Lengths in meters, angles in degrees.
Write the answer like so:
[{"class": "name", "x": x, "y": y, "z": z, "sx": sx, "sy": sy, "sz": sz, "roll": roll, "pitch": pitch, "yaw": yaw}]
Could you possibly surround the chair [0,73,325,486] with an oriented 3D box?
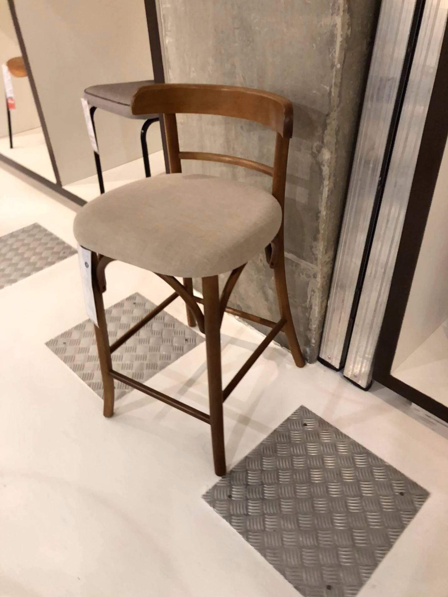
[{"class": "chair", "x": -0.101, "y": -0.058, "z": 1.254, "sx": 0.491, "sy": 0.814, "sz": 0.483, "roll": 19, "pitch": 43, "yaw": 26}]
